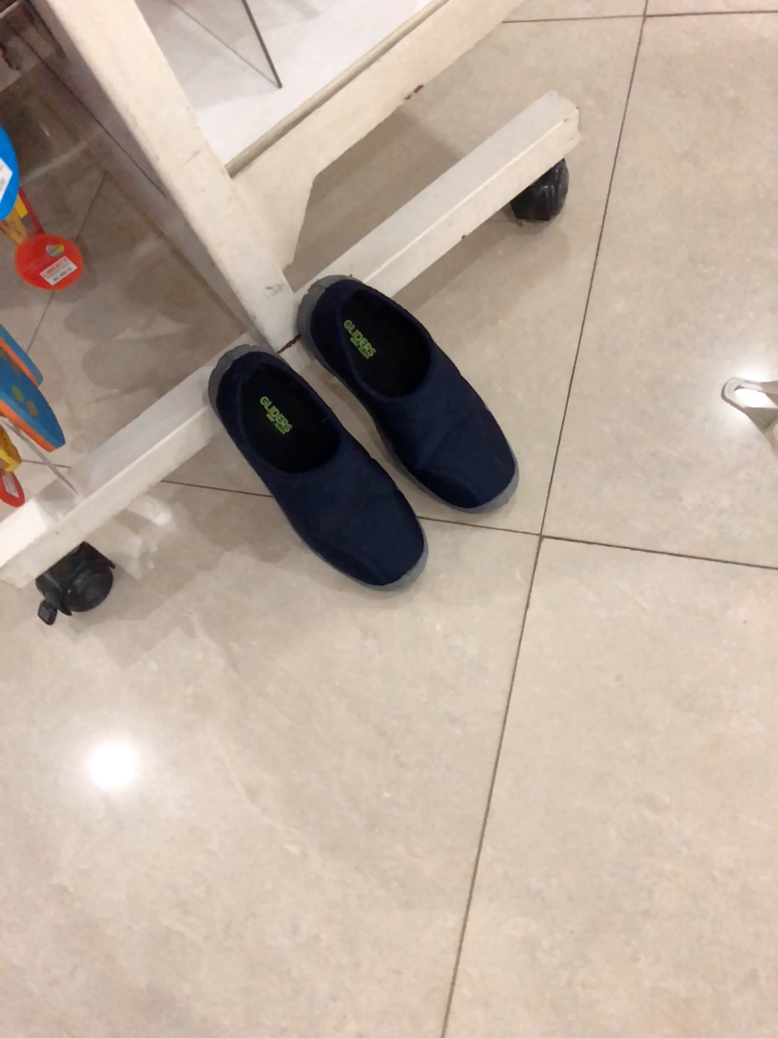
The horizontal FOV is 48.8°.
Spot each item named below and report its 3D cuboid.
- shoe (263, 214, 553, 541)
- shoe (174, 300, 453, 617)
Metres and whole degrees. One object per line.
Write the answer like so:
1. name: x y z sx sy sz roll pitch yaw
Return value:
1. shoe: 0.016 -0.132 0.810 0.110 0.084 0.289 -37 78 -2
2. shoe: -0.070 -0.056 0.812 0.107 0.064 0.288 -37 81 -2
